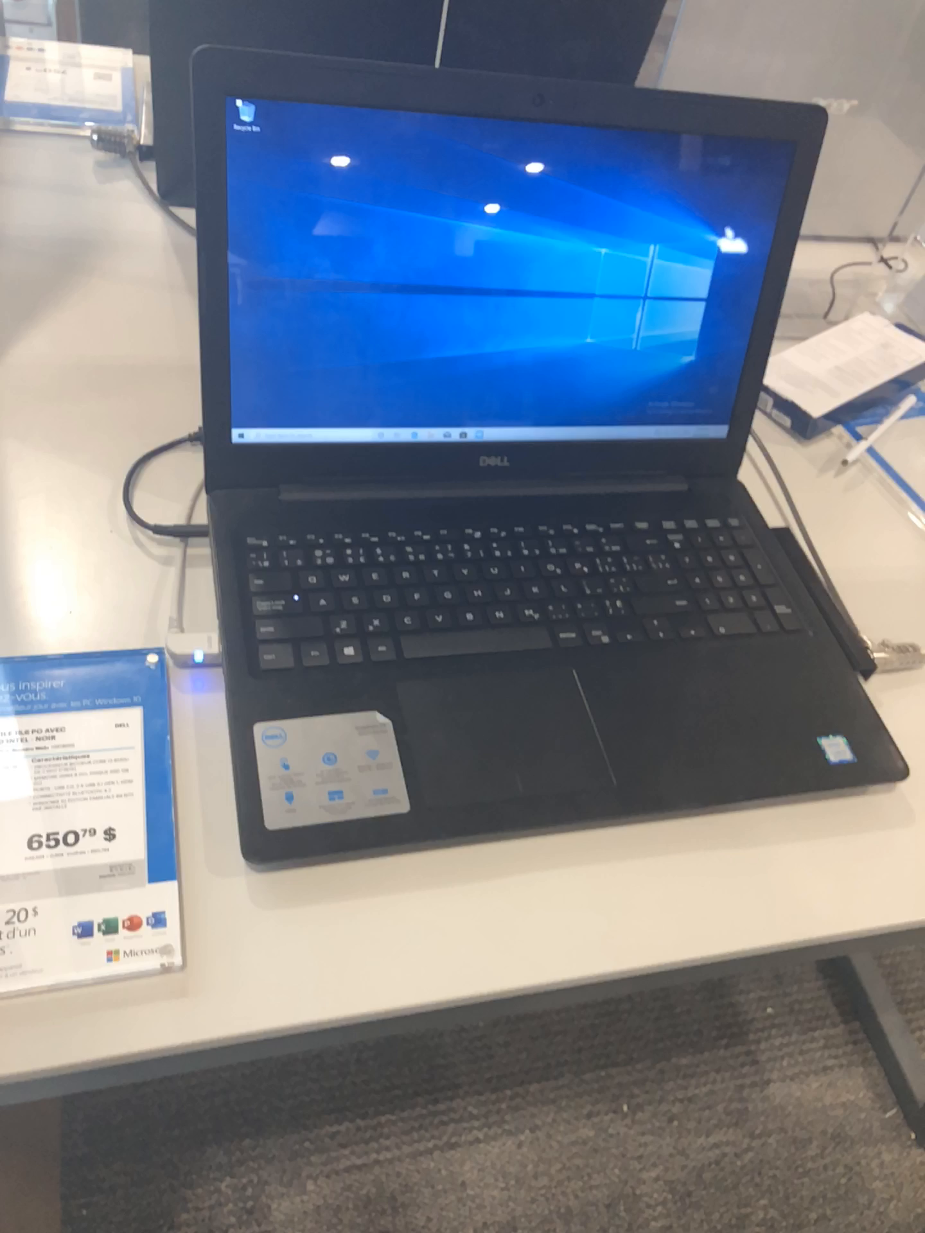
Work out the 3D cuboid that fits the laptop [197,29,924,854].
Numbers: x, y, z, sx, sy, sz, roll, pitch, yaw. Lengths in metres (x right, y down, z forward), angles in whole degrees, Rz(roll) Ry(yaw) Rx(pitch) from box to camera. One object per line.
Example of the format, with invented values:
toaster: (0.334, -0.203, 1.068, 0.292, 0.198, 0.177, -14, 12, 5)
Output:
laptop: (0.055, -0.105, 0.552, 0.364, 0.224, 0.337, -4, 52, -16)
